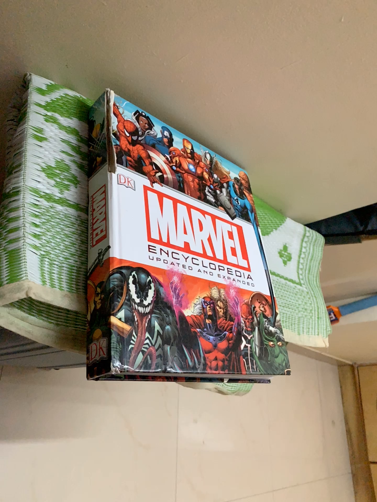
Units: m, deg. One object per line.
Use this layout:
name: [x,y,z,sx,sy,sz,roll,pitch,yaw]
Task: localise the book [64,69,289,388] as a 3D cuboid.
book: [-0.006,-0.014,0.447,0.261,0.040,0.321,18,55,-41]
